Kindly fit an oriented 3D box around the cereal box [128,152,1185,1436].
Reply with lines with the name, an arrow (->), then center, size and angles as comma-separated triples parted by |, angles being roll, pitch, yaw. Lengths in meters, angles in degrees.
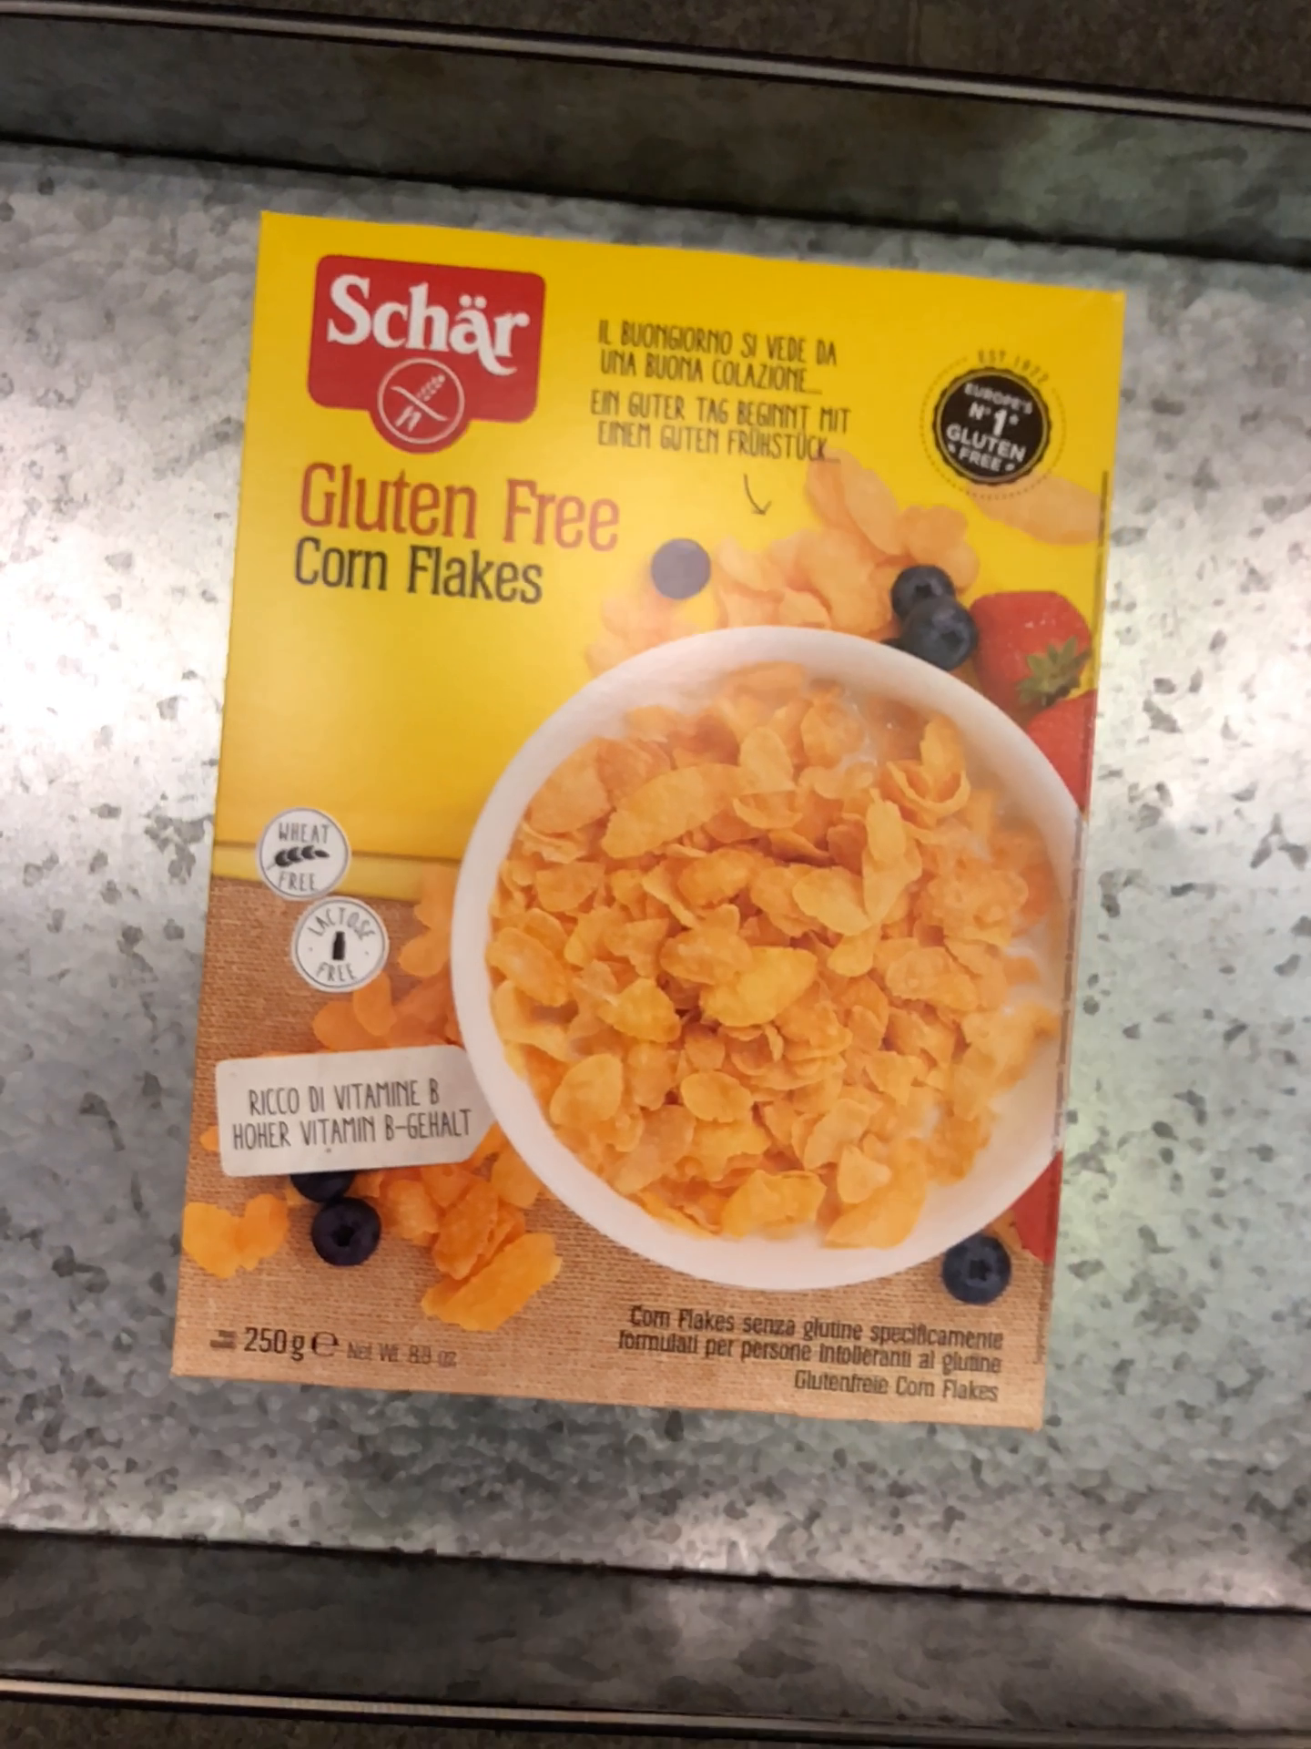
cereal box -> 0.000, -0.015, 0.337 | 0.200, 0.070, 0.250 | 4, 90, -2
